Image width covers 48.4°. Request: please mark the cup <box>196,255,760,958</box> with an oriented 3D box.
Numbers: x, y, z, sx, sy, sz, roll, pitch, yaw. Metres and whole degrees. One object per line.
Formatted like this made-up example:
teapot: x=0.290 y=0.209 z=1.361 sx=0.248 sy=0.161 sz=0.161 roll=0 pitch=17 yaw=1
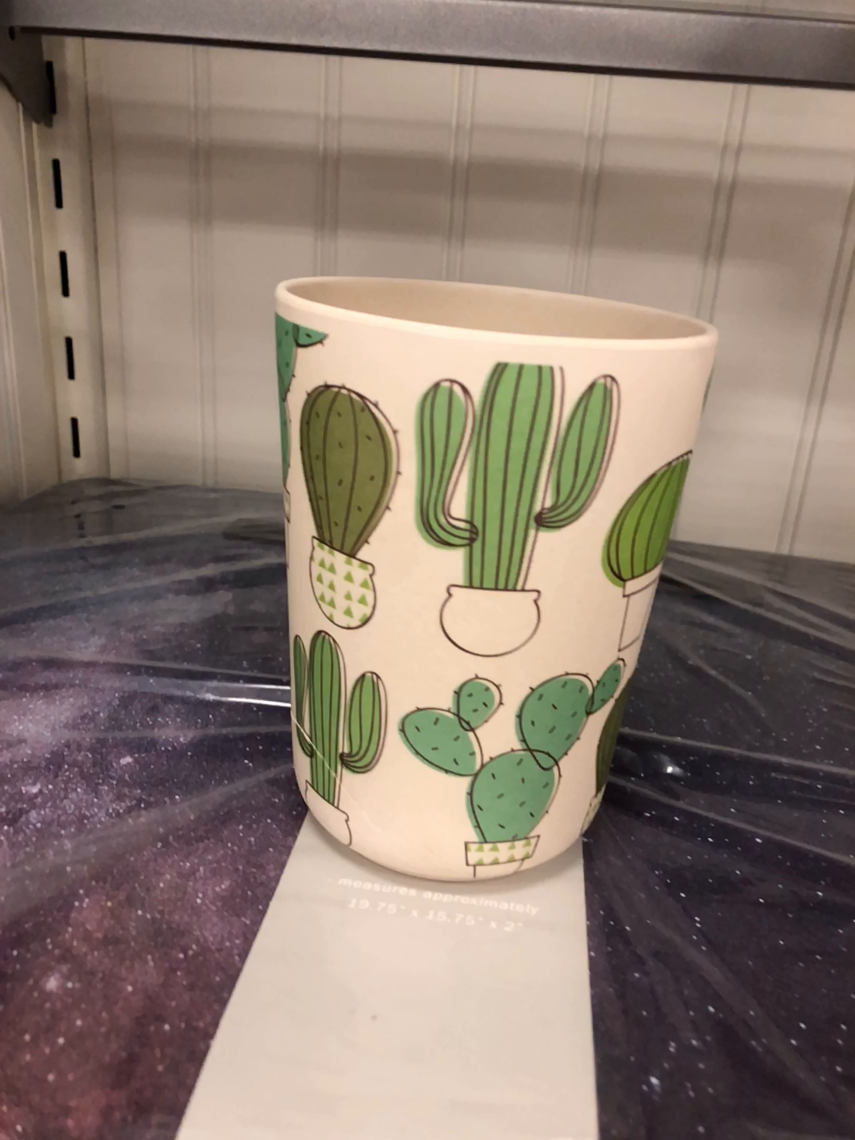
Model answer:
cup: x=0.014 y=-0.003 z=0.233 sx=0.100 sy=0.129 sz=0.091 roll=12 pitch=23 yaw=19
